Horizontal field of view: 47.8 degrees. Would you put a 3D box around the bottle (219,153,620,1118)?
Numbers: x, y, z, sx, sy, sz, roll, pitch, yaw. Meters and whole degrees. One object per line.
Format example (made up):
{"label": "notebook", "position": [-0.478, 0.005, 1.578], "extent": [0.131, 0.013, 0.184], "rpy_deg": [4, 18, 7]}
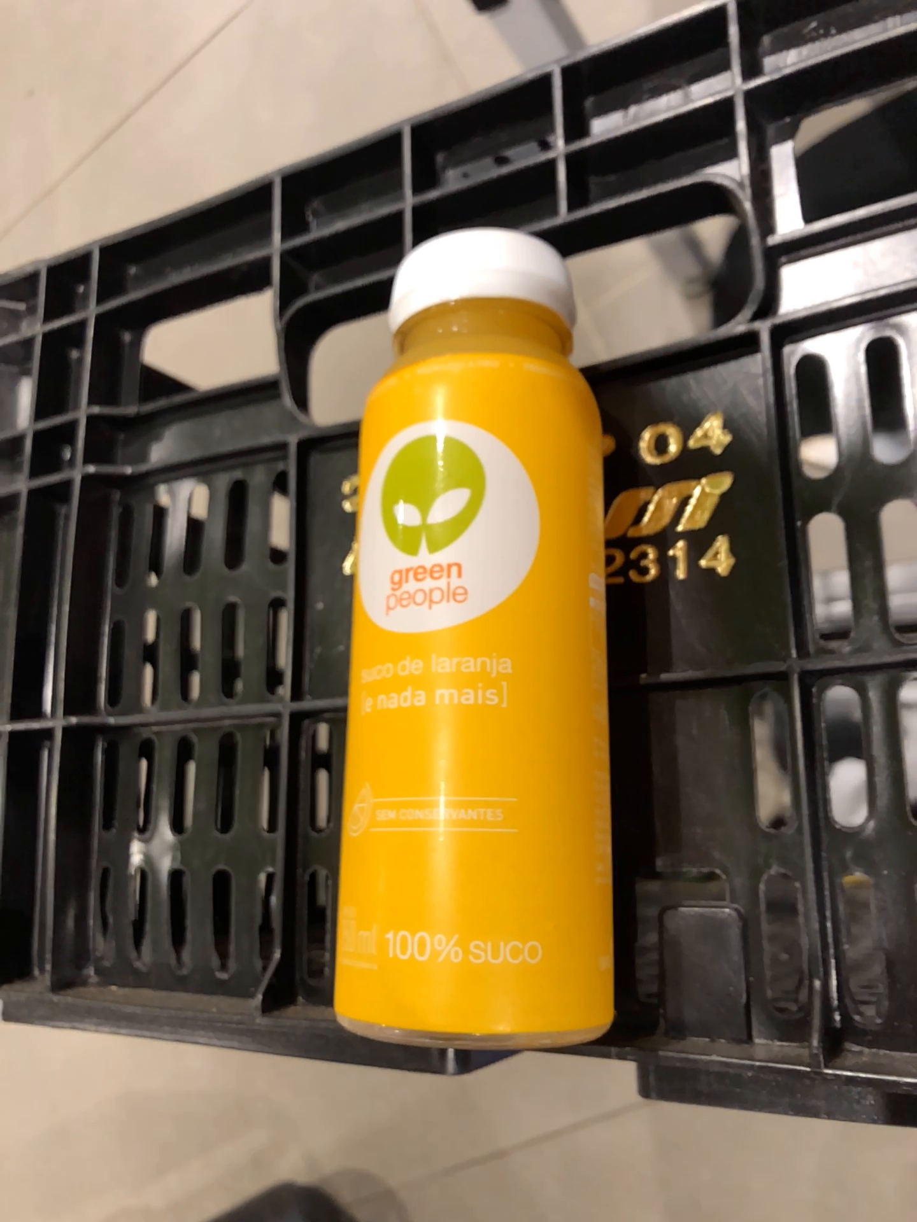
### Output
{"label": "bottle", "position": [-0.003, 0.003, 0.223], "extent": [0.060, 0.050, 0.180], "rpy_deg": [-7, 73, 29]}
